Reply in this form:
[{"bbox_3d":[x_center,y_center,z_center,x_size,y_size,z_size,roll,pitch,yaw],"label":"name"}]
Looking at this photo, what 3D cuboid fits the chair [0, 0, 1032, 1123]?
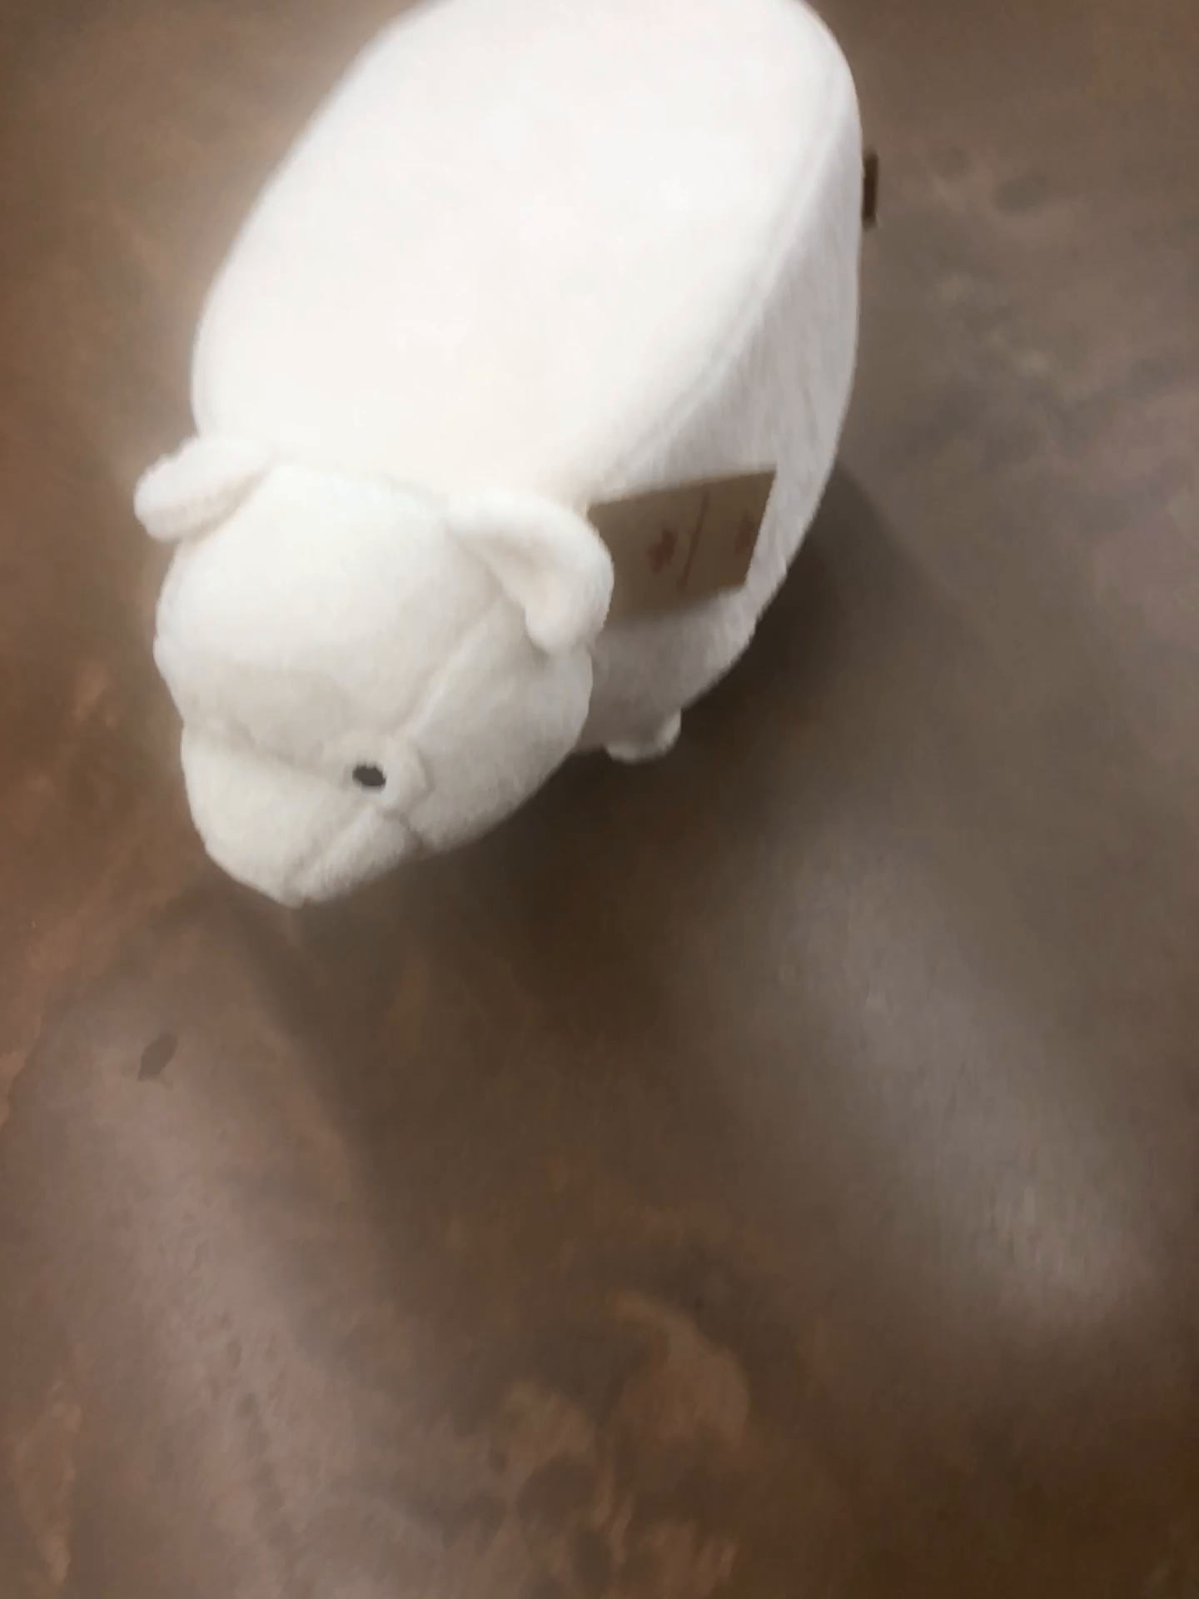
[{"bbox_3d":[-0.067,-0.209,0.855,0.441,0.349,0.630,22,71,20],"label":"chair"}]
